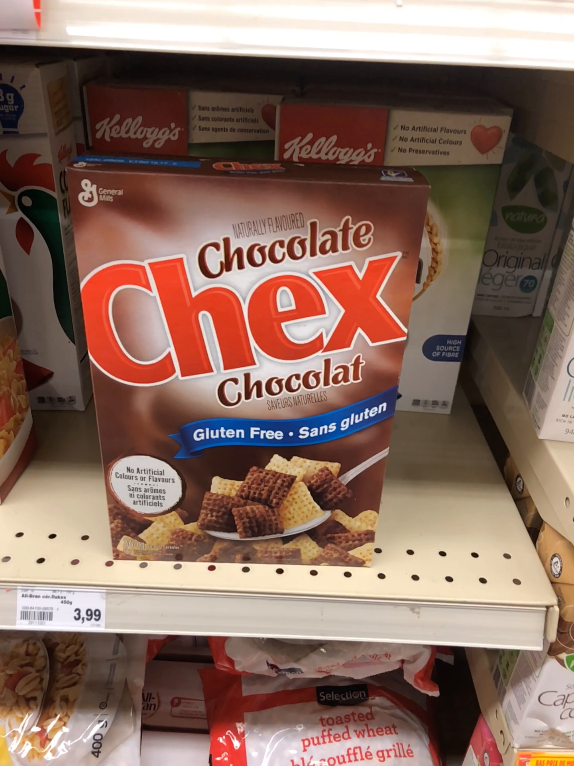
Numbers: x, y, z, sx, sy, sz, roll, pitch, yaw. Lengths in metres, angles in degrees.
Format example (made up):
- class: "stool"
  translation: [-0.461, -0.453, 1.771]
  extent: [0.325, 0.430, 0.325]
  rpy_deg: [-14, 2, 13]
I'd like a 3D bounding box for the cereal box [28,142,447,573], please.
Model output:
- class: "cereal box"
  translation: [-0.030, 0.001, 0.409]
  extent: [0.210, 0.278, 0.050]
  rpy_deg: [2, 30, -1]
